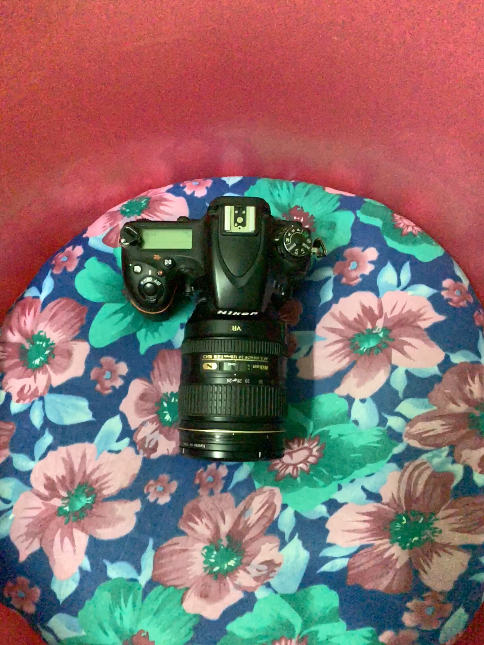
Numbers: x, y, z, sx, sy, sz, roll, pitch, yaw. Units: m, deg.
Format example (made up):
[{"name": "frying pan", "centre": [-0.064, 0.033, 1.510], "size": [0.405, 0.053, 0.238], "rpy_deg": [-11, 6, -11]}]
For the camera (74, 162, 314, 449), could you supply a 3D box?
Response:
[{"name": "camera", "centre": [-0.024, -0.005, 0.359], "size": [0.140, 0.111, 0.179], "rpy_deg": [1, 78, 2]}]
